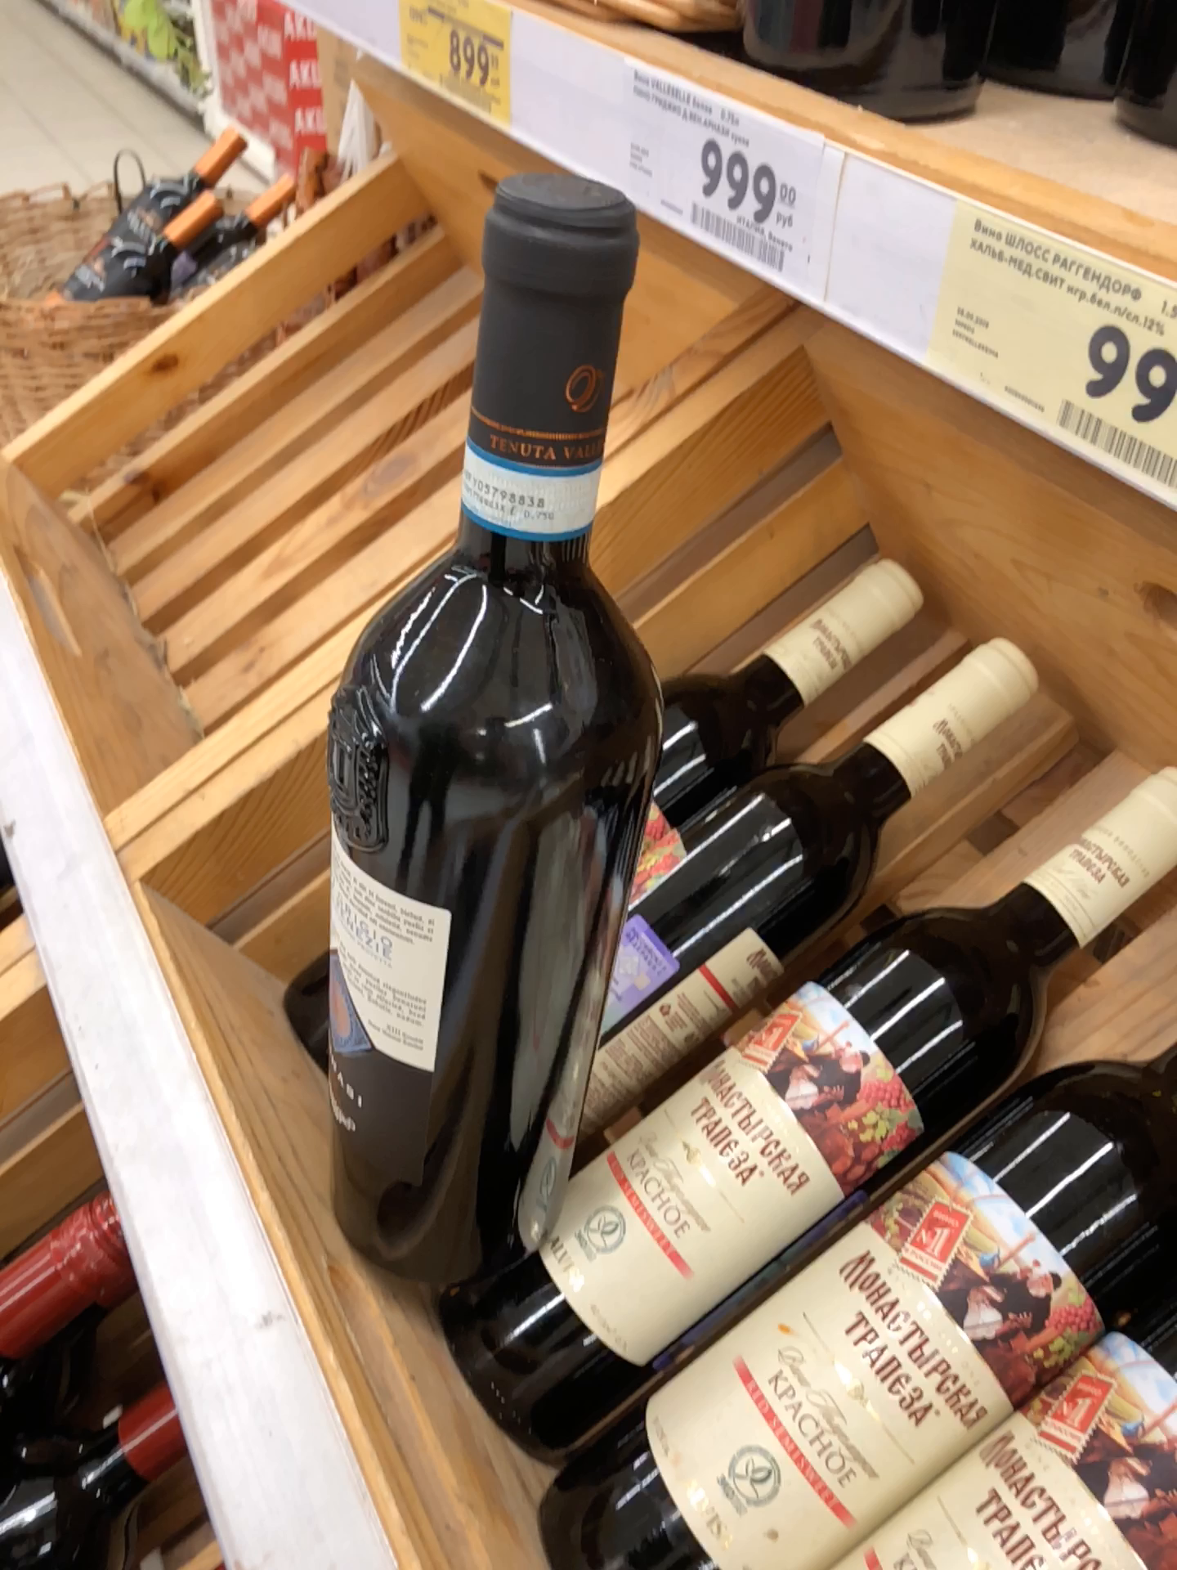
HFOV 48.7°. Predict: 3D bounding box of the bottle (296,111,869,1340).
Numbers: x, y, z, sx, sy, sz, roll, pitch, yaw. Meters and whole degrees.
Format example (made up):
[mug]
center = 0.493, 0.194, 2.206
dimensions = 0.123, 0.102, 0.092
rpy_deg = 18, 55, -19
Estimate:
[bottle]
center = -0.025, 0.006, 0.350
dimensions = 0.080, 0.318, 0.090
rpy_deg = -11, 40, -27
